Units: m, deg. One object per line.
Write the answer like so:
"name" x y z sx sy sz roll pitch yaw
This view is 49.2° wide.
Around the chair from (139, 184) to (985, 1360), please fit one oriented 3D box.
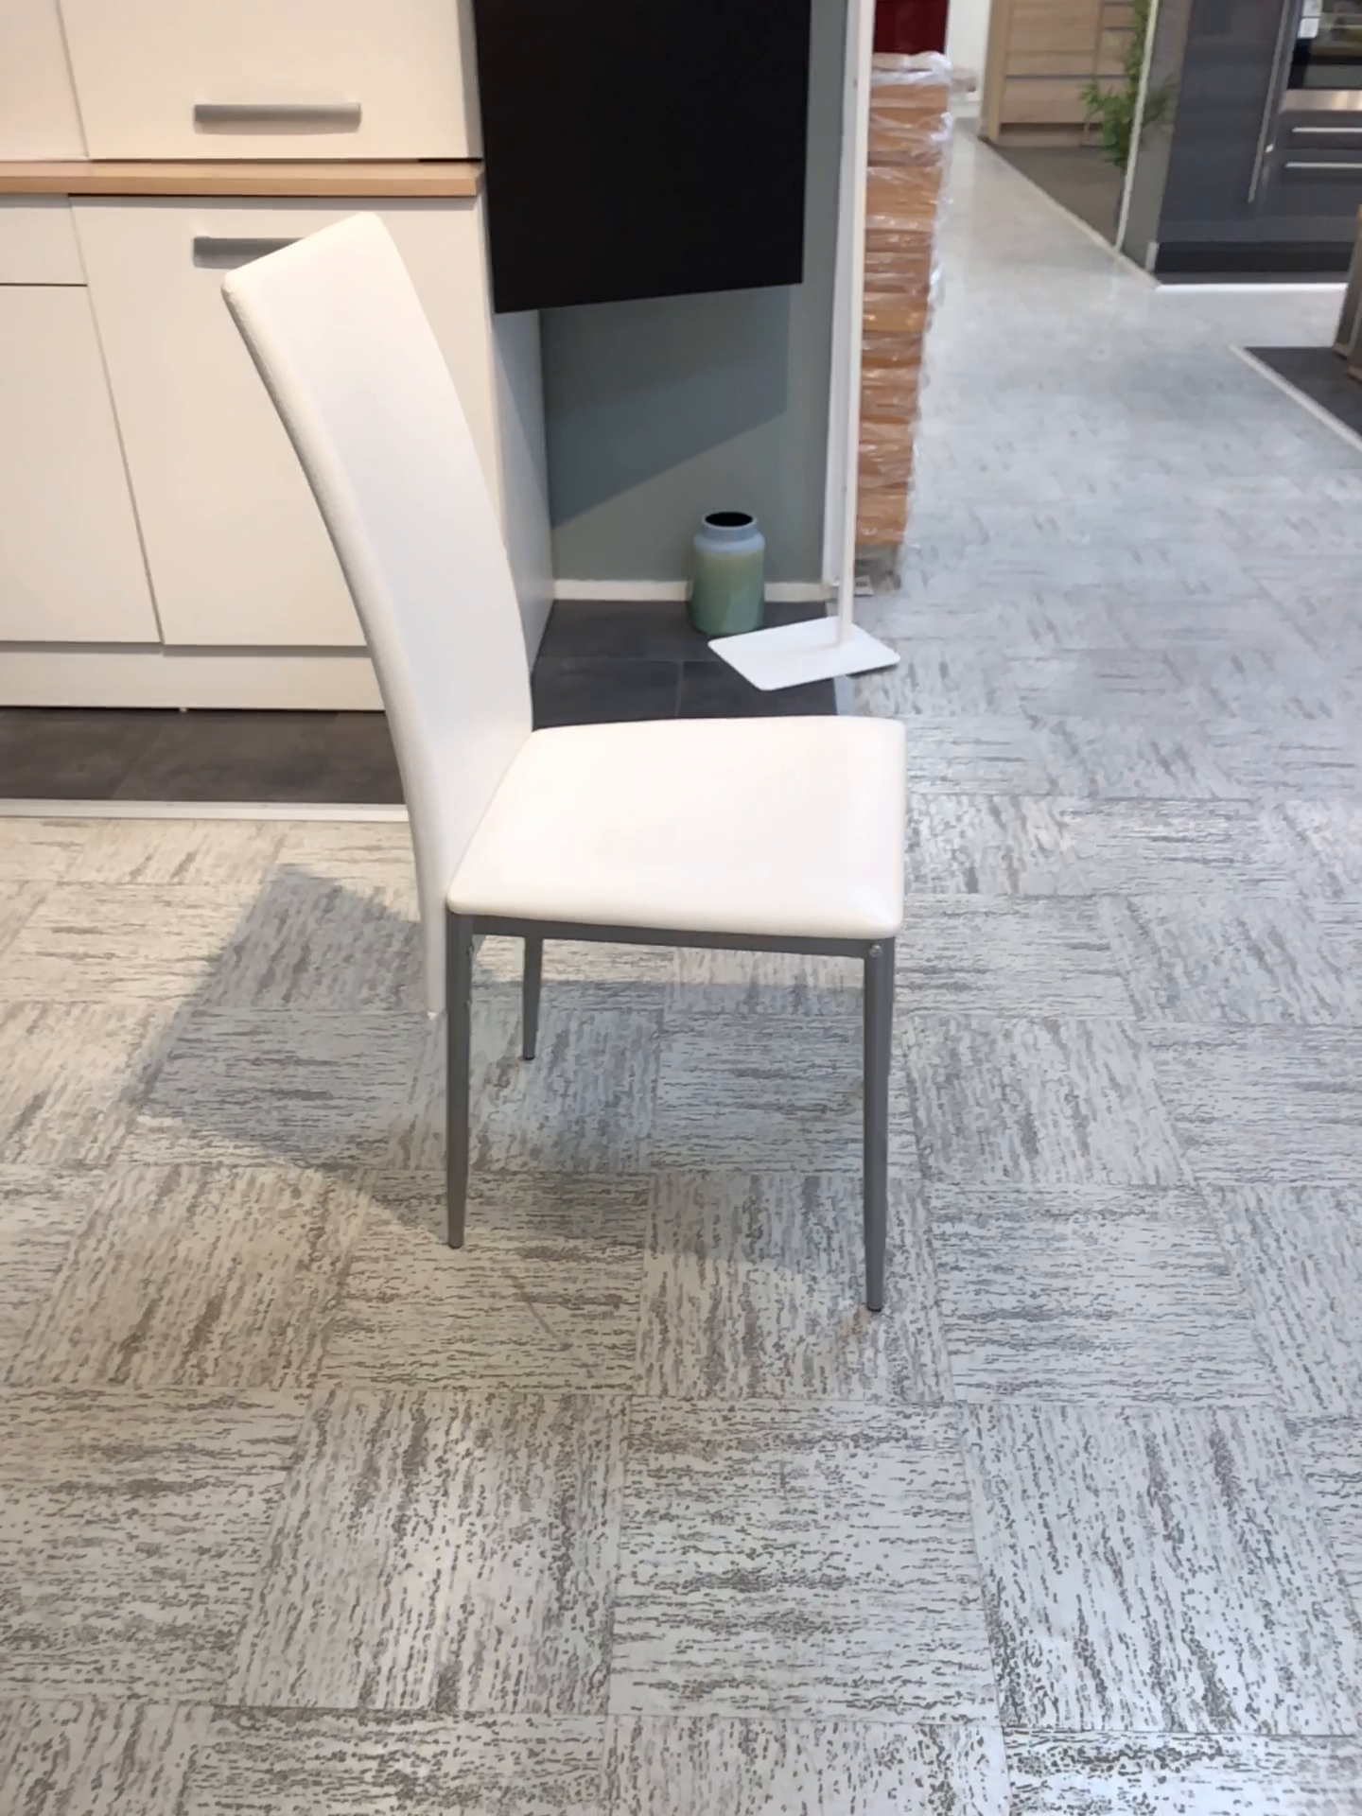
"chair" -0.049 -0.122 1.390 0.550 0.944 0.473 5 32 7
